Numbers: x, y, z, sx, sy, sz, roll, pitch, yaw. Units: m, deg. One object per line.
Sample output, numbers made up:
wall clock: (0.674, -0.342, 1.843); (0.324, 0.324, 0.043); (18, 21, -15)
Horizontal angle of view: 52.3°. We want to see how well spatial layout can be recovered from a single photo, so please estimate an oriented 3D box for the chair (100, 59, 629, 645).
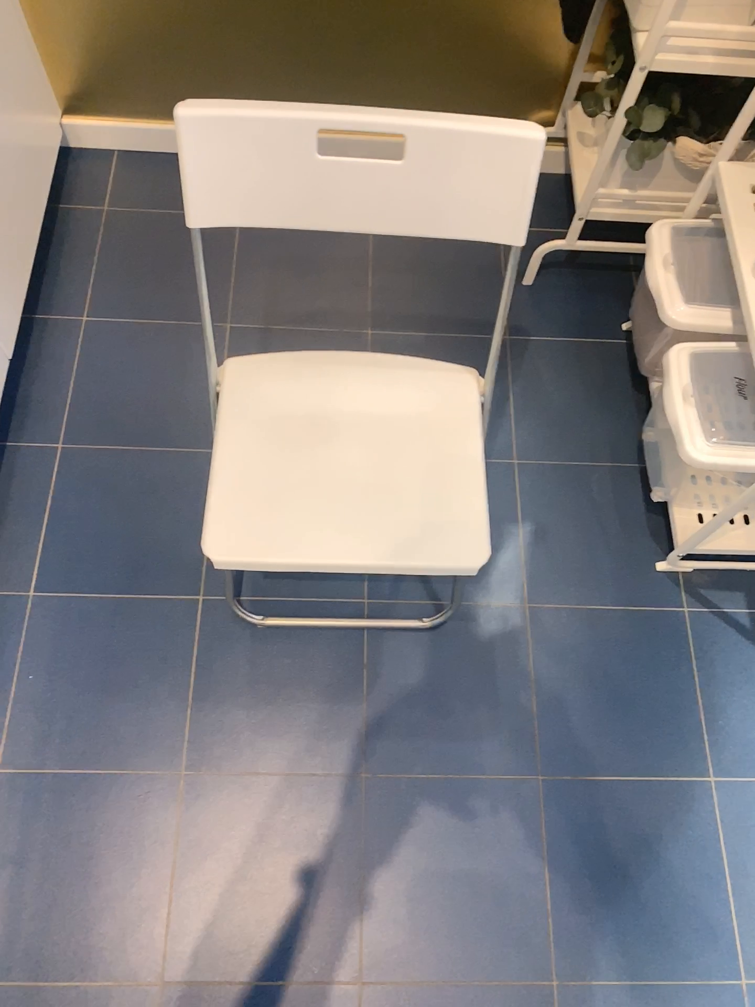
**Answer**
chair: (-0.021, -0.109, 1.066); (0.440, 0.749, 0.421); (3, 66, -2)
